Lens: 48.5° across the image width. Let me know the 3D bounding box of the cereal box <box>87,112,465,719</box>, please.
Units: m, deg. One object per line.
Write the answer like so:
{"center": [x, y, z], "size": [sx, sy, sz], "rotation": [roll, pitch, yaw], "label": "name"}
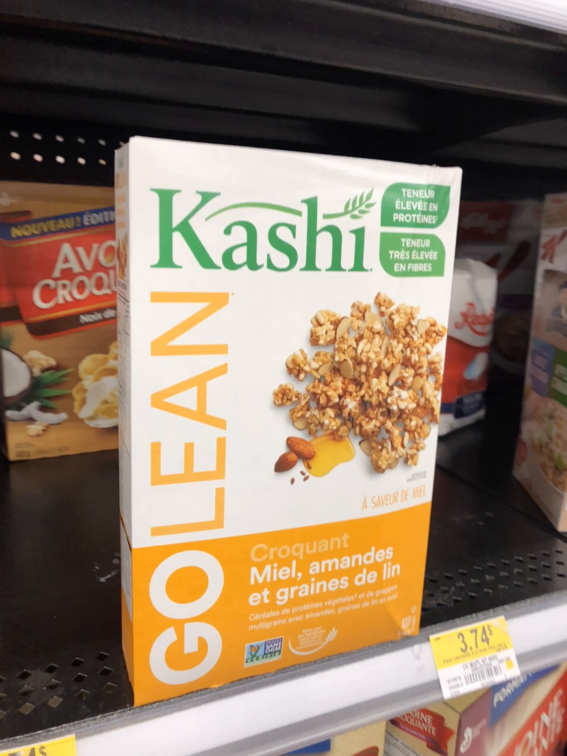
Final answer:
{"center": [-0.007, 0.020, 0.323], "size": [0.170, 0.269, 0.050], "rotation": [-3, 14, -23], "label": "cereal box"}
